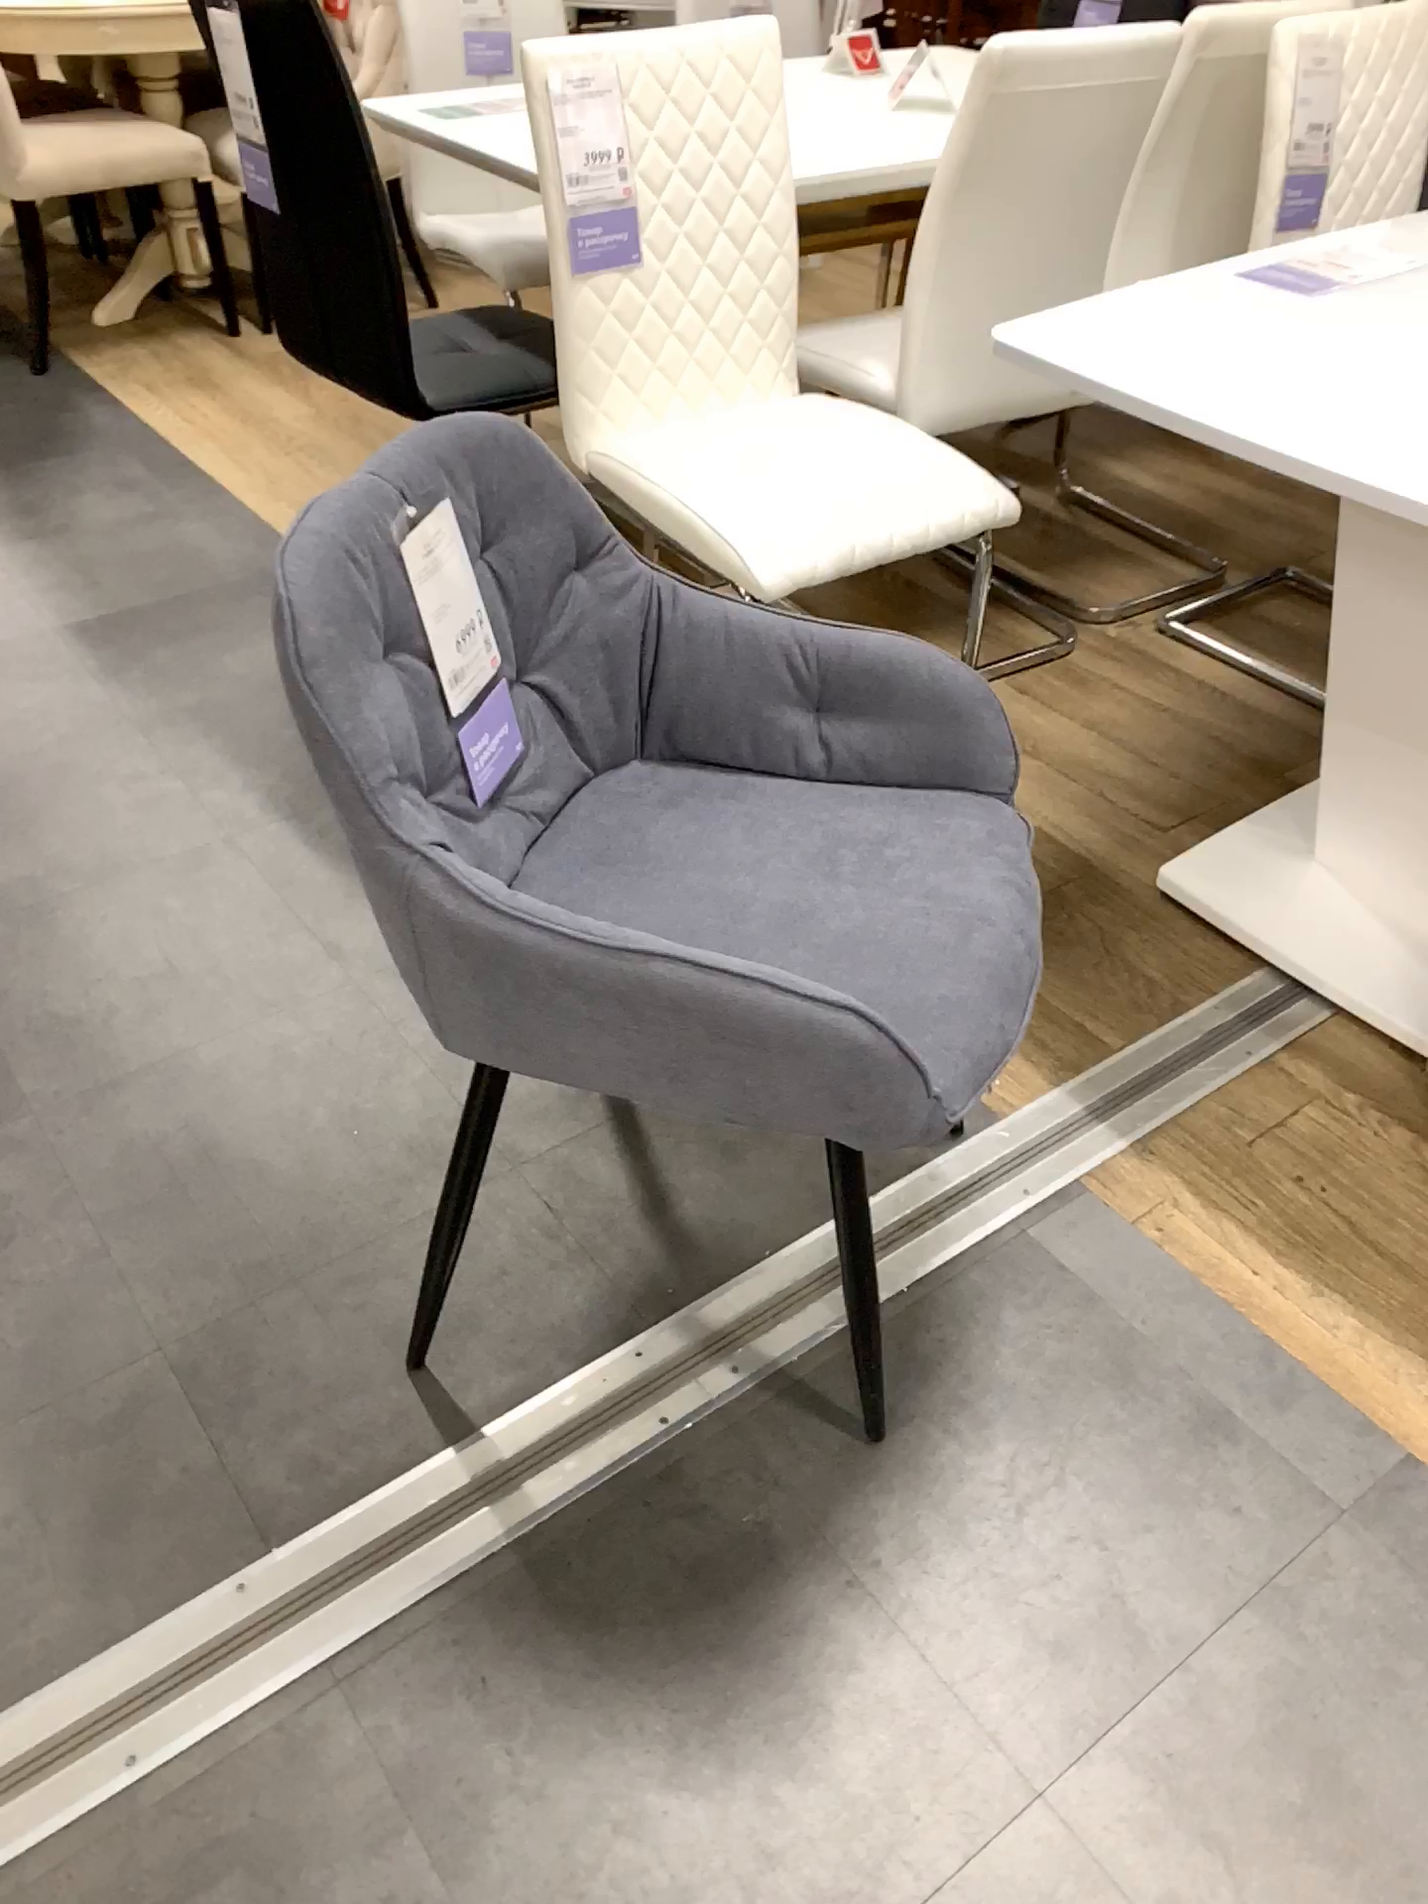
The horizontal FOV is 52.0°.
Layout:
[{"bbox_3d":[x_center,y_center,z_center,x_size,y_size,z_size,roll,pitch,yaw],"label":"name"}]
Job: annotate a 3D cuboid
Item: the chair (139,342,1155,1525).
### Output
[{"bbox_3d":[-0.010,-0.030,1.317,0.590,0.775,0.563,13,40,13],"label":"chair"}]
